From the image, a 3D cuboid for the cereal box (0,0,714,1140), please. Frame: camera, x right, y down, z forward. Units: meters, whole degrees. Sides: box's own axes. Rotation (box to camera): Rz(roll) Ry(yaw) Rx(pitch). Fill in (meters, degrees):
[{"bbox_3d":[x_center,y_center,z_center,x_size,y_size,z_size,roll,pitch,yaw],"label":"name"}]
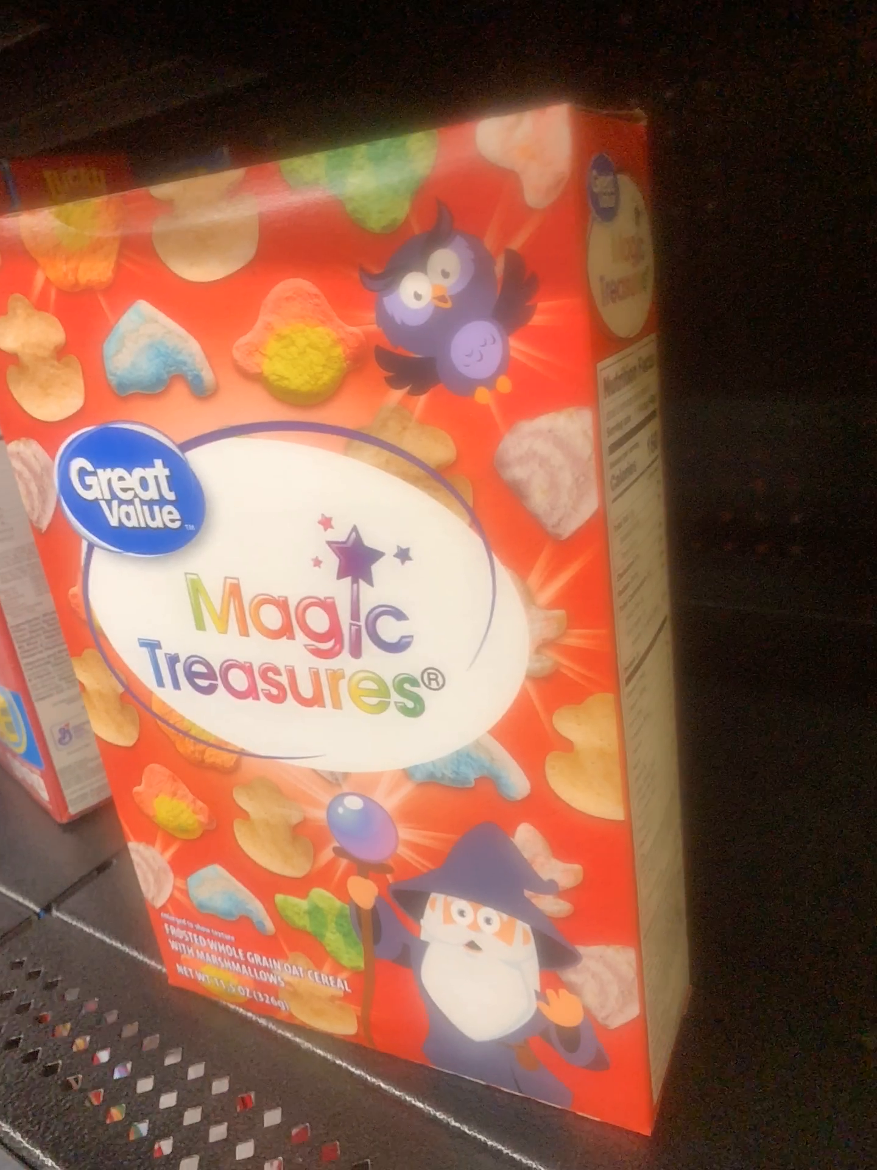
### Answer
[{"bbox_3d":[-0.027,0.006,0.288,0.200,0.279,0.070,2,19,28],"label":"cereal box"}]
